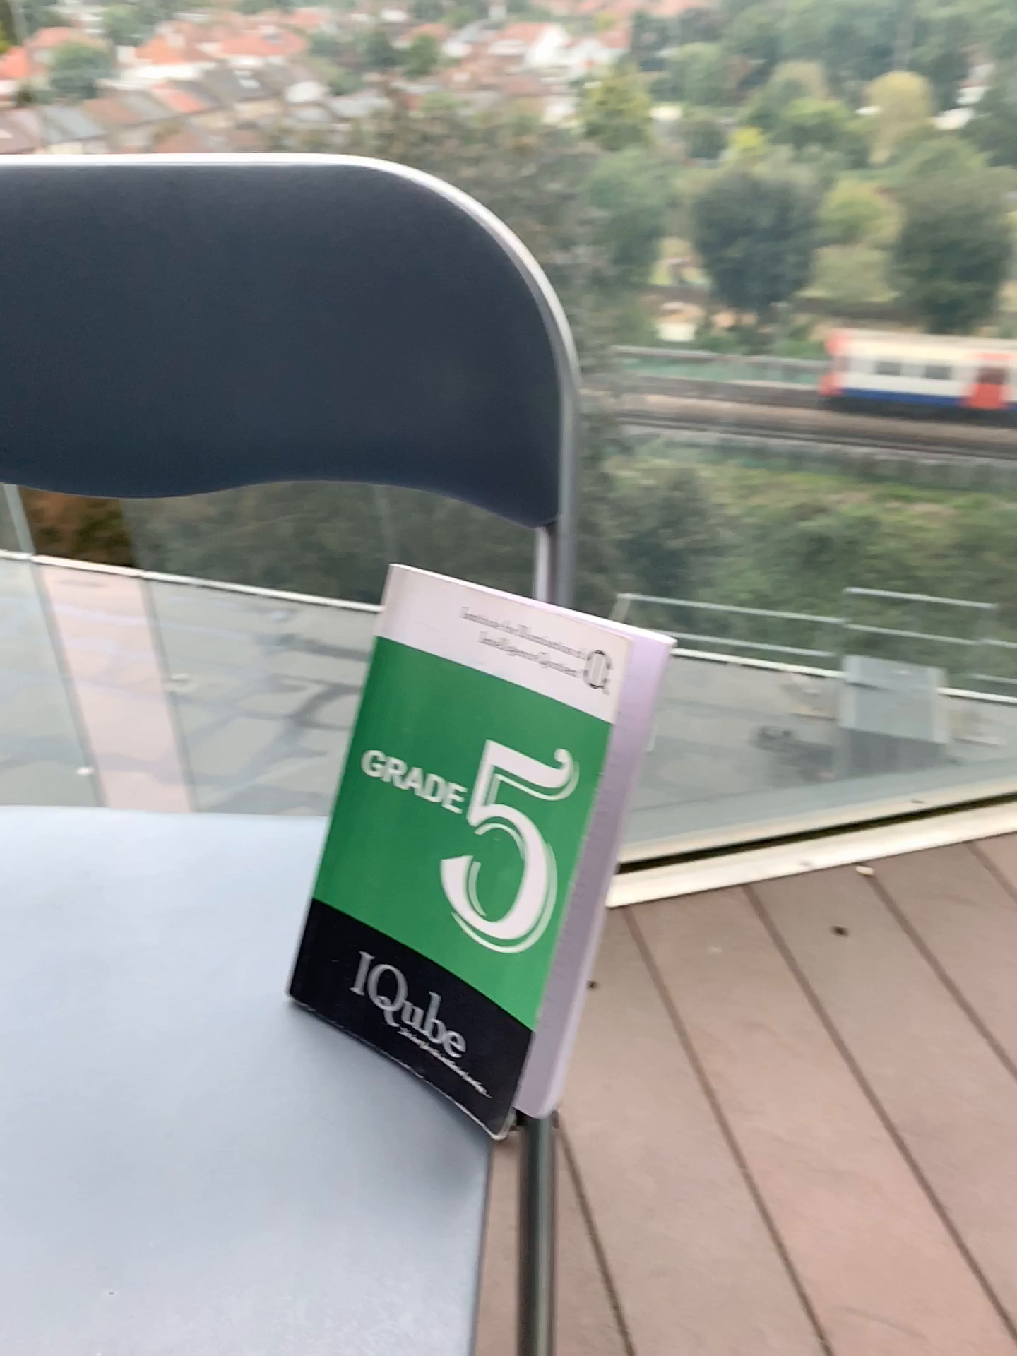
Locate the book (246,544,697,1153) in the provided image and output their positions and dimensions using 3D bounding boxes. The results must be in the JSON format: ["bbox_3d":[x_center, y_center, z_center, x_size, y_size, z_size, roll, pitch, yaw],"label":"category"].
[{"bbox_3d":[-0.023,0.063,0.452,0.150,0.210,0.040,18,5,32],"label":"book"}]
